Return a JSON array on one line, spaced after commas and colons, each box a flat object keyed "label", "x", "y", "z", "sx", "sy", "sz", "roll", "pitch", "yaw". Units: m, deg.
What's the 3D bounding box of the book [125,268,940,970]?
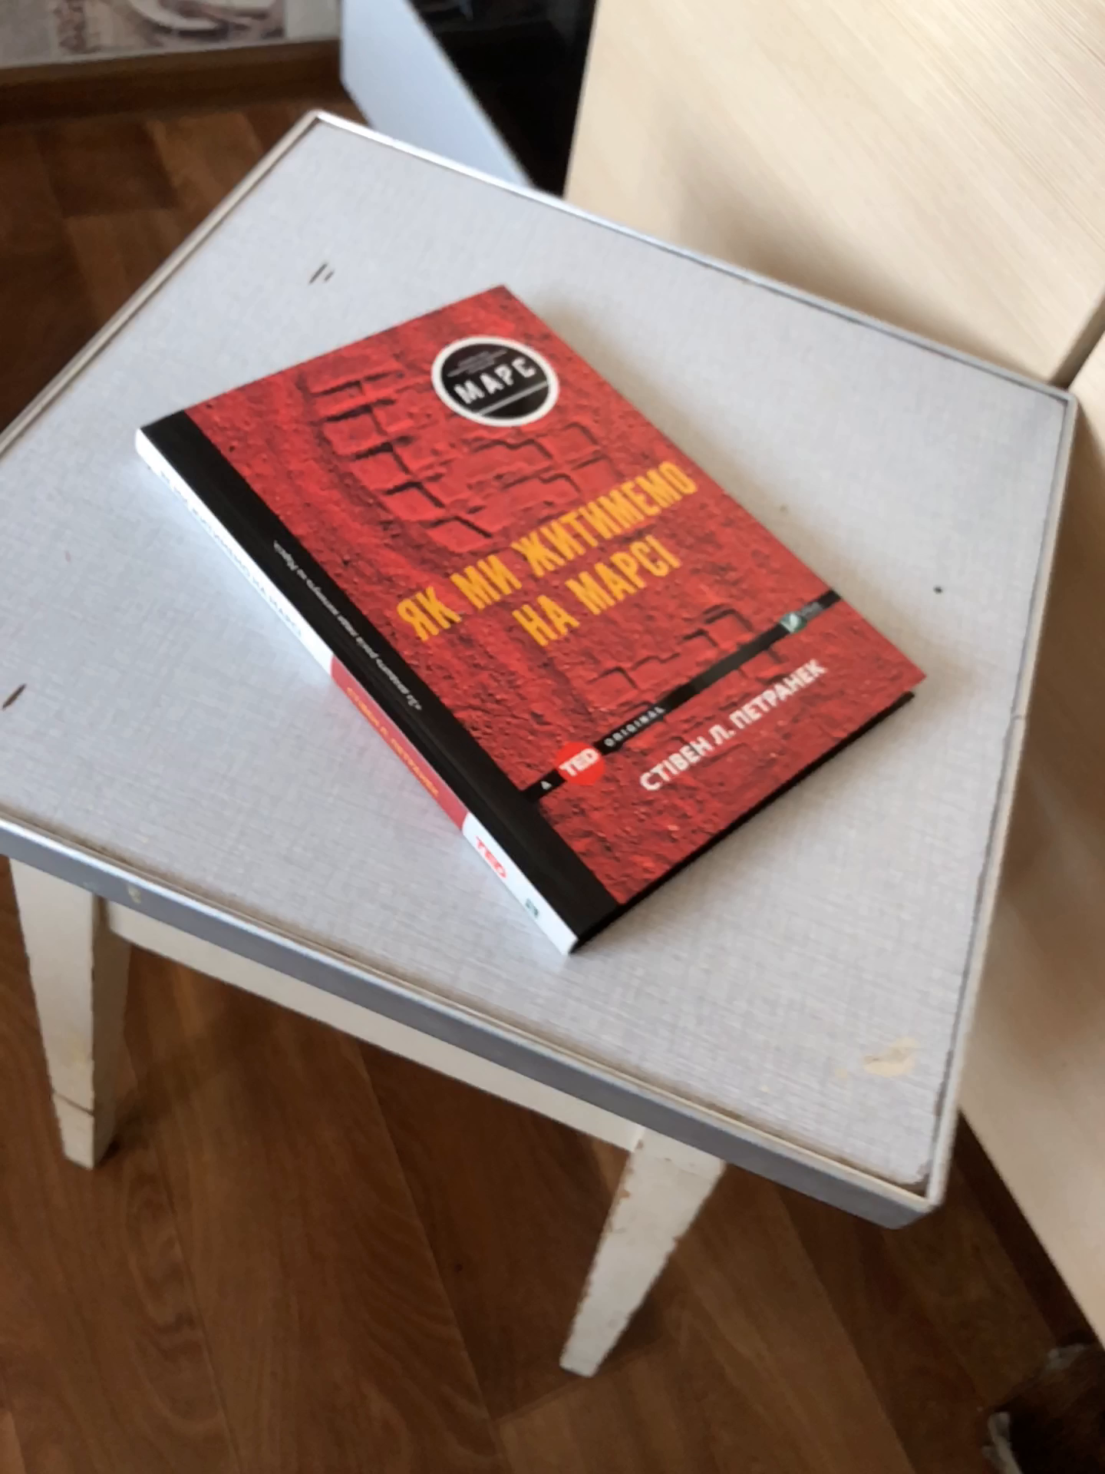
[{"label": "book", "x": -0.008, "y": -0.054, "z": 0.380, "sx": 0.150, "sy": 0.020, "sz": 0.209, "roll": -32, "pitch": 68, "yaw": -27}]
